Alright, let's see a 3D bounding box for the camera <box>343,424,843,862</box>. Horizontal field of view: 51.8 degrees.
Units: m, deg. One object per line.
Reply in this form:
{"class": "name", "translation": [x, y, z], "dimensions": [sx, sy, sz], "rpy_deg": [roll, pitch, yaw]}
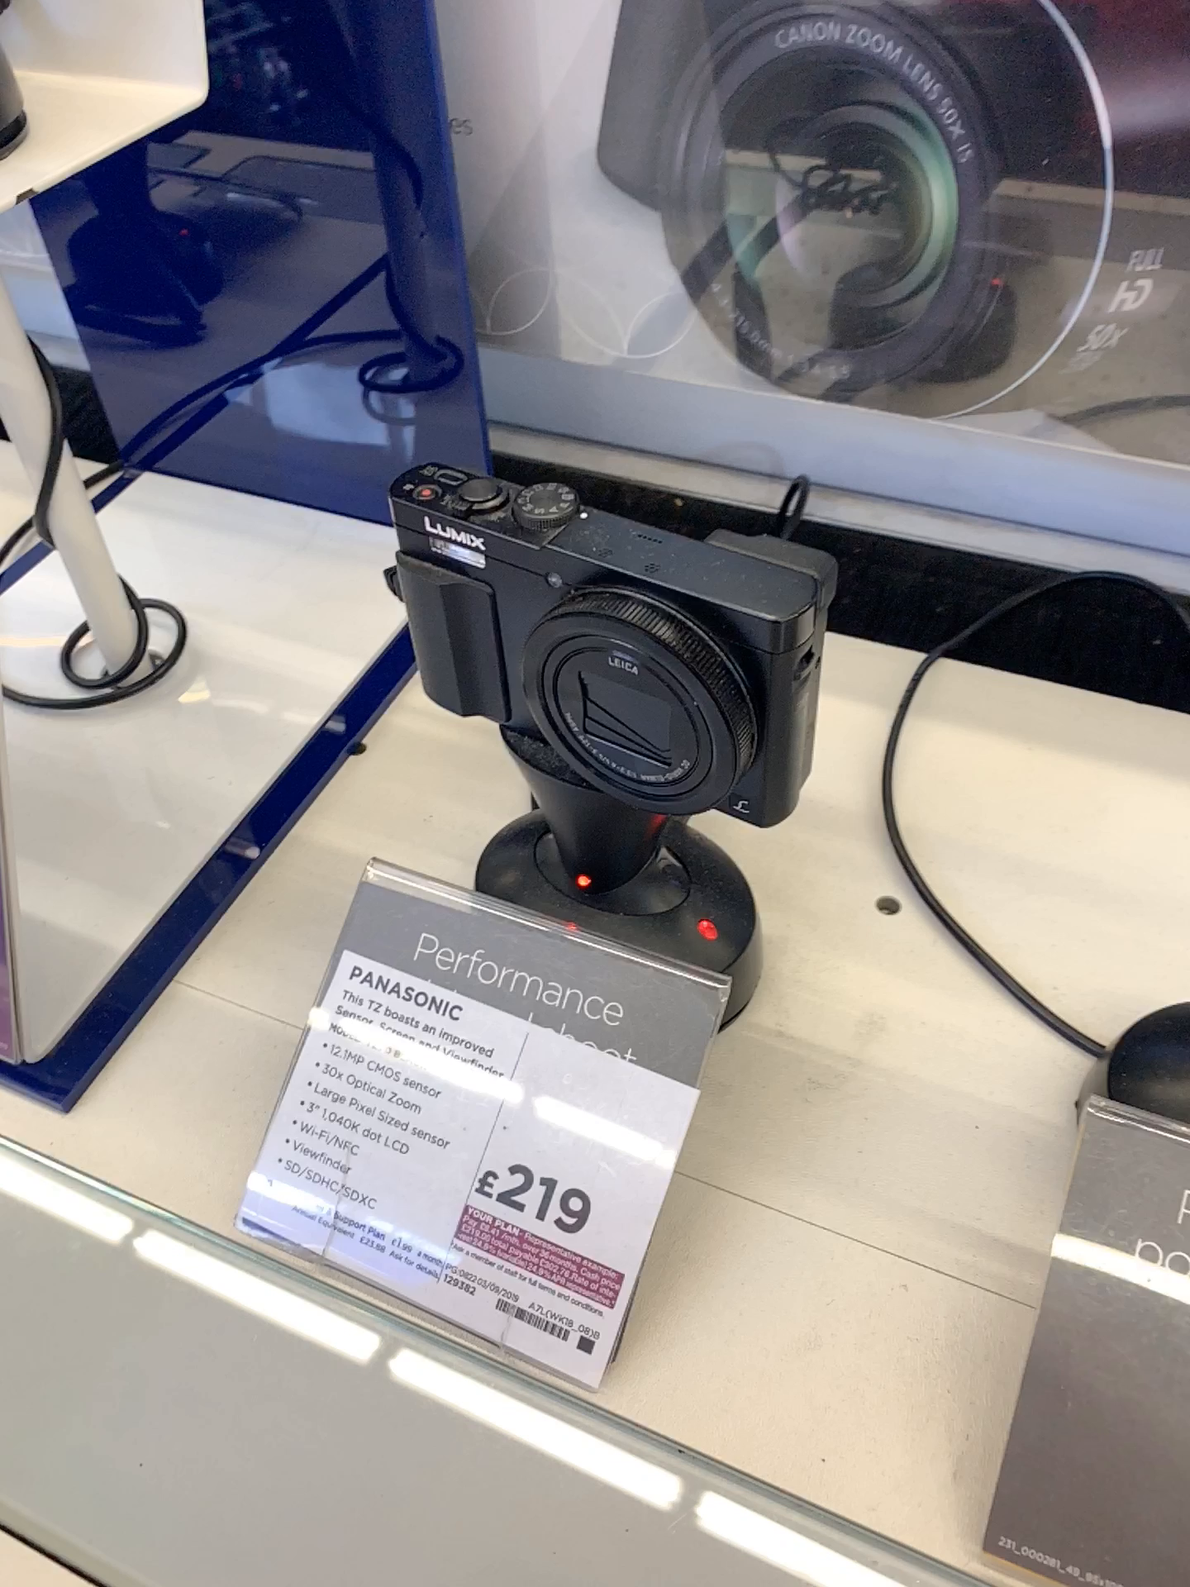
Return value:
{"class": "camera", "translation": [-0.002, -0.037, 0.294], "dimensions": [0.110, 0.069, 0.030], "rpy_deg": [23, 51, 23]}
